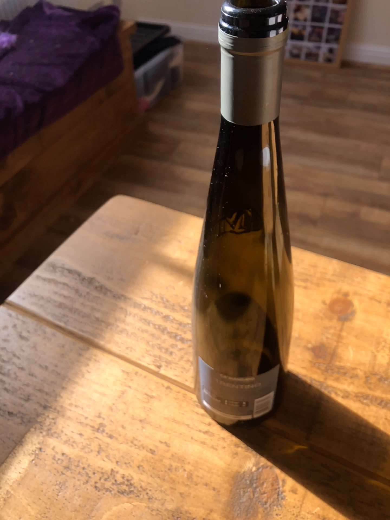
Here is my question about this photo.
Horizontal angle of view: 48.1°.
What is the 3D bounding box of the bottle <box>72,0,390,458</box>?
[{"bbox_3d":[0.020,0.016,0.290,0.100,0.337,0.101,-2,46,2],"label":"bottle"}]
